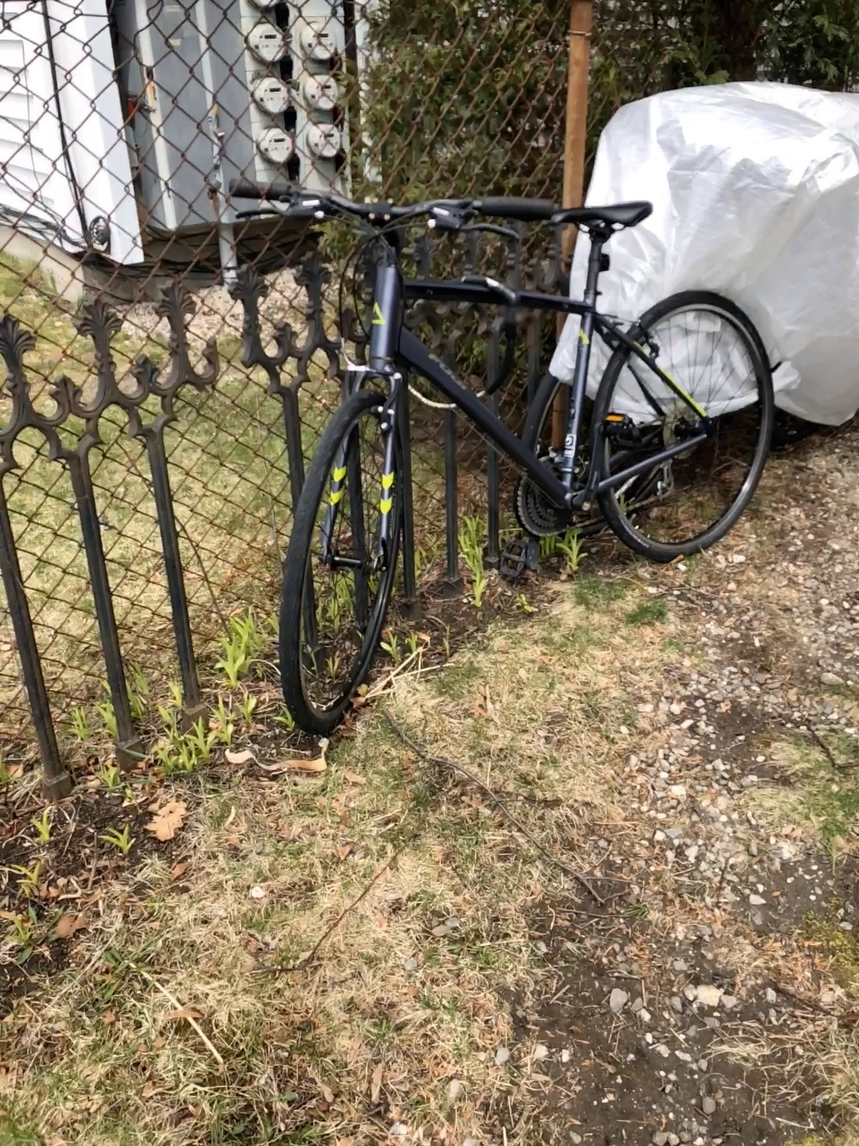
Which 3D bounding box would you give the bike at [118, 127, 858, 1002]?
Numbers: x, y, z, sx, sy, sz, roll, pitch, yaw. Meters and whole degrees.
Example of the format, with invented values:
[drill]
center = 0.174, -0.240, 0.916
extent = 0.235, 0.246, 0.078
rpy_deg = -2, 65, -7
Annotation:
[bike]
center = 0.414, -0.327, 2.331
extent = 0.678, 1.346, 2.203
rpy_deg = 22, 34, 33
